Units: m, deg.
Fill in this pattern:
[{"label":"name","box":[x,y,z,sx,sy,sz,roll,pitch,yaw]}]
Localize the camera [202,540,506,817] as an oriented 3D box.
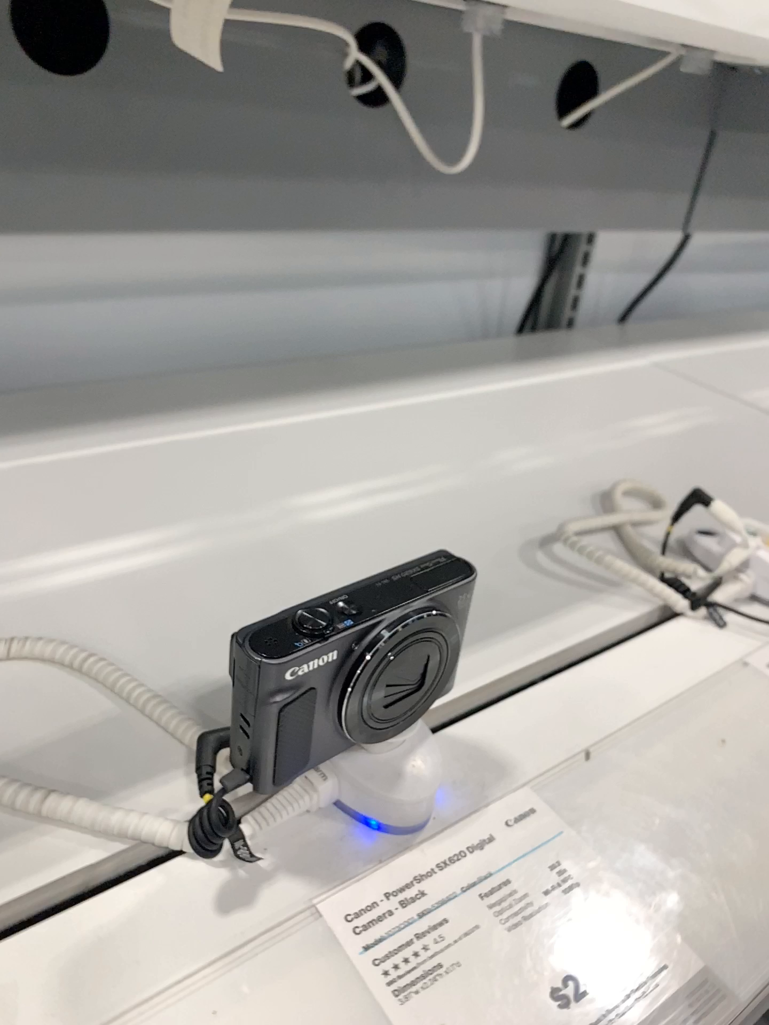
[{"label":"camera","box":[-0.008,0.050,0.268,0.100,0.050,0.031,-17,37,-40]}]
